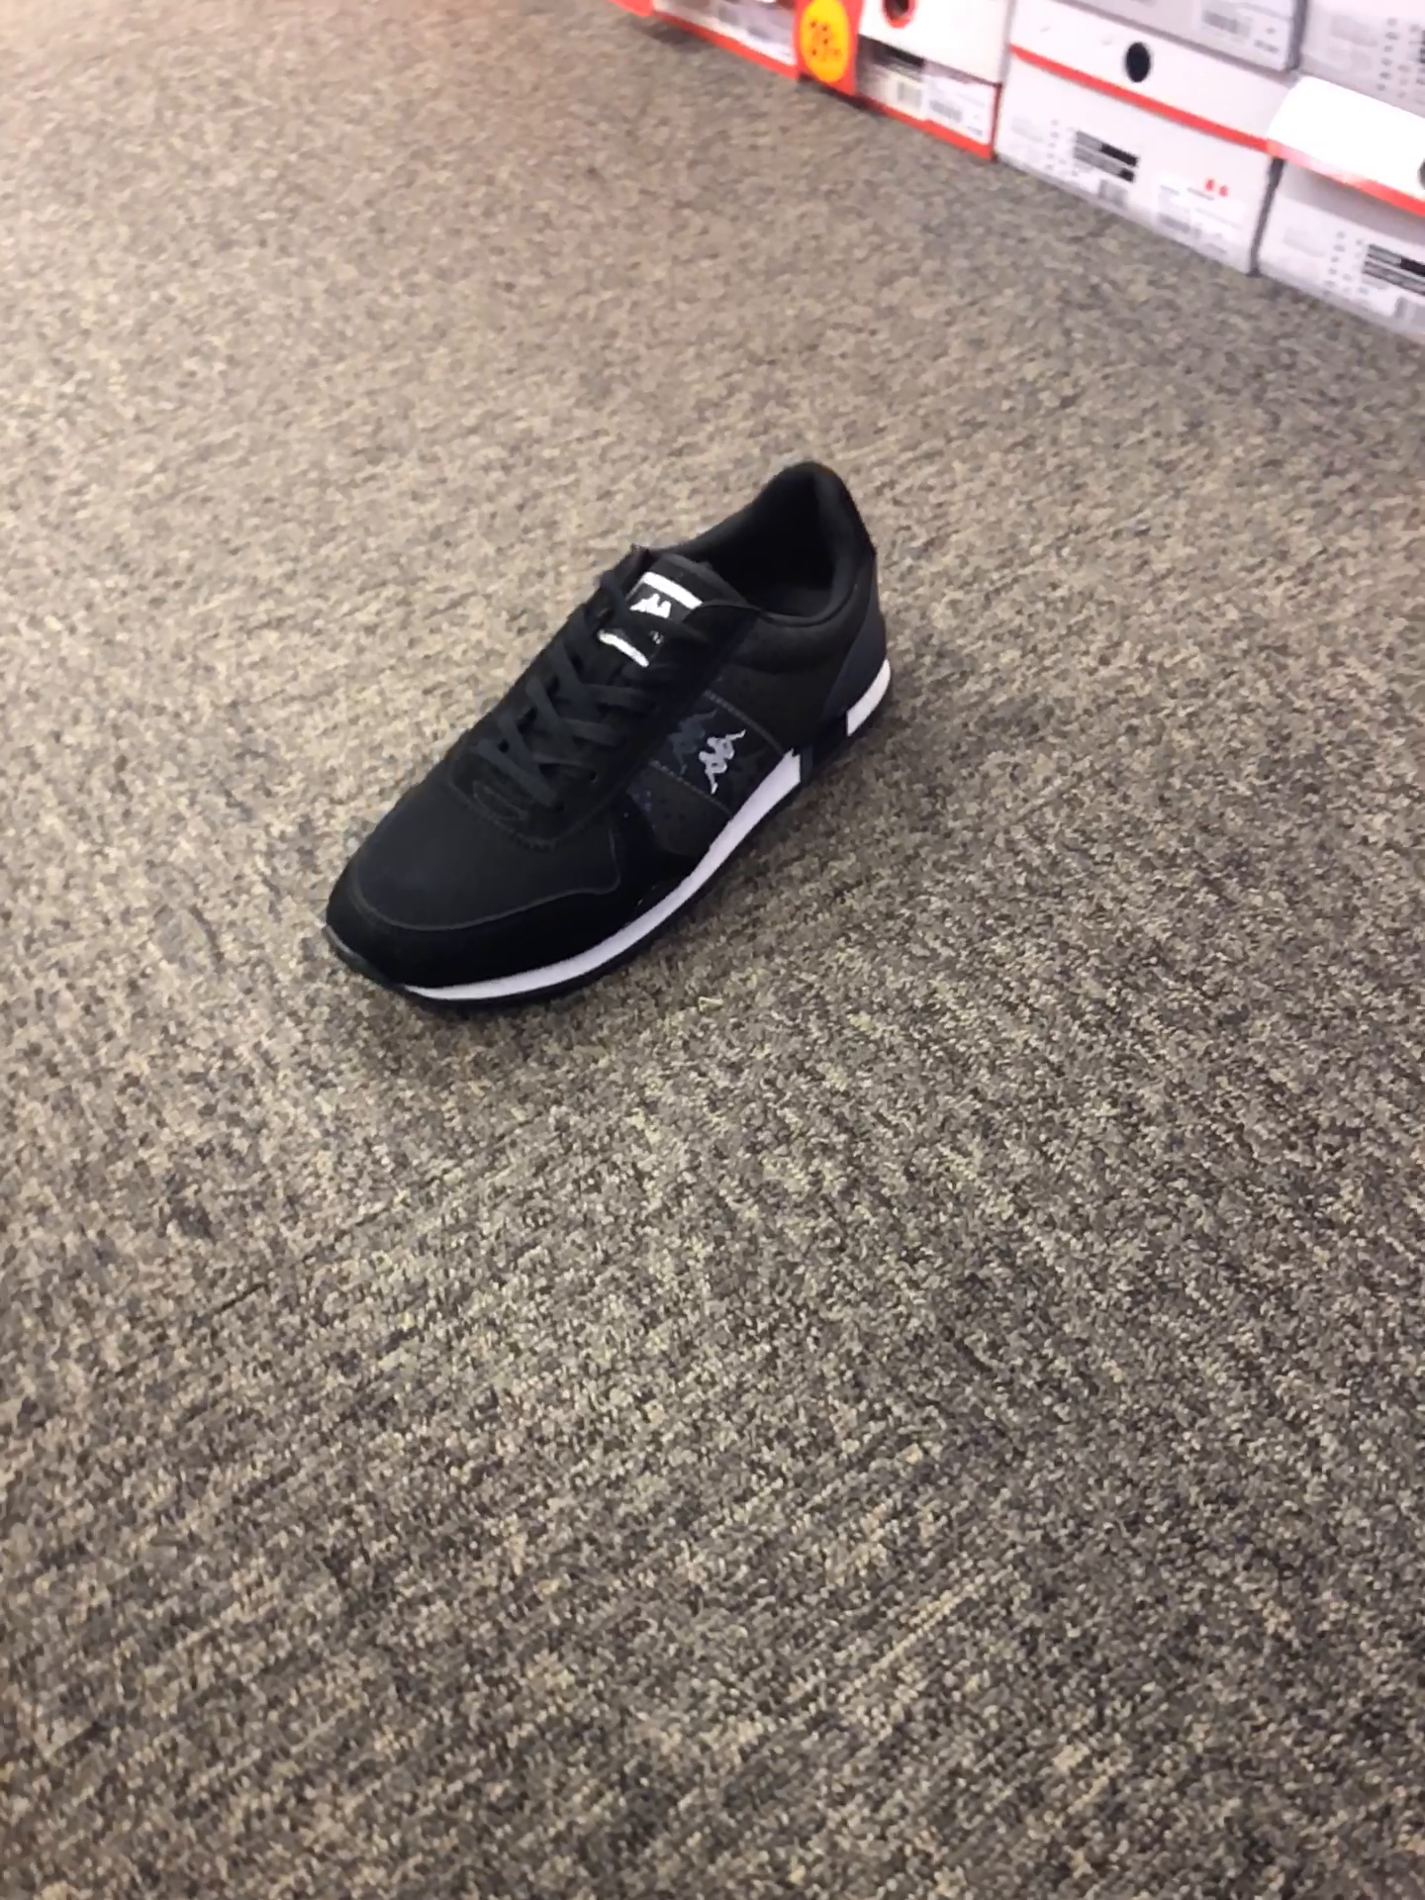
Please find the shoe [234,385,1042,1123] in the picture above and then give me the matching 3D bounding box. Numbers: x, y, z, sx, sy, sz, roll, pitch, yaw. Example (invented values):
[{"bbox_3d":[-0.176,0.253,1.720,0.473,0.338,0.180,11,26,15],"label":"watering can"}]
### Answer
[{"bbox_3d":[-0.012,-0.079,0.550,0.100,0.090,0.275,35,62,29],"label":"shoe"}]
